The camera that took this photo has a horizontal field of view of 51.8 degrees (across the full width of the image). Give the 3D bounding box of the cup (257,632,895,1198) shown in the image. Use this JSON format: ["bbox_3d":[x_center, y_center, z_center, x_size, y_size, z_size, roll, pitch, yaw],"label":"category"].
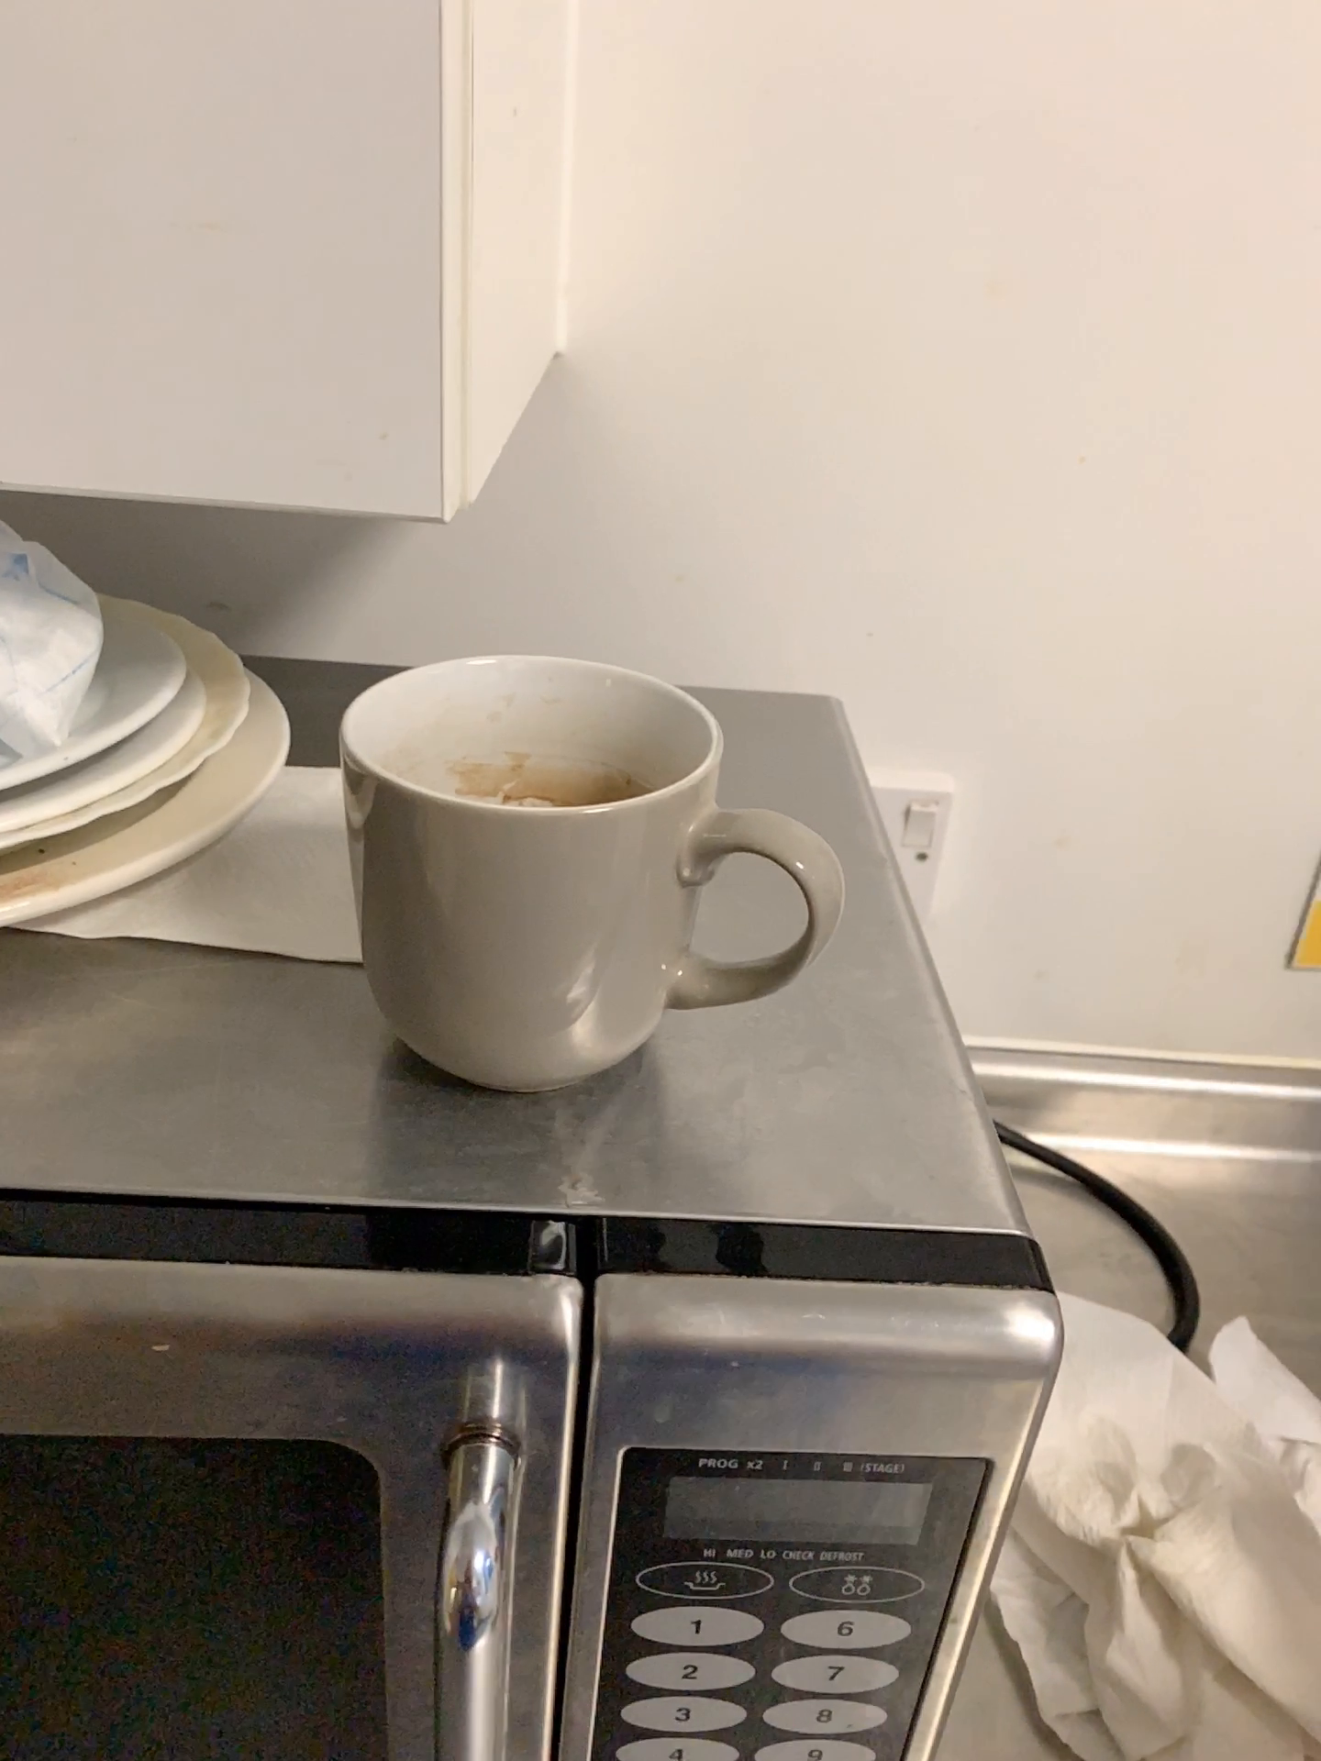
[{"bbox_3d":[-0.016,0.001,0.338,0.124,0.079,0.102,11,29,12],"label":"cup"}]
